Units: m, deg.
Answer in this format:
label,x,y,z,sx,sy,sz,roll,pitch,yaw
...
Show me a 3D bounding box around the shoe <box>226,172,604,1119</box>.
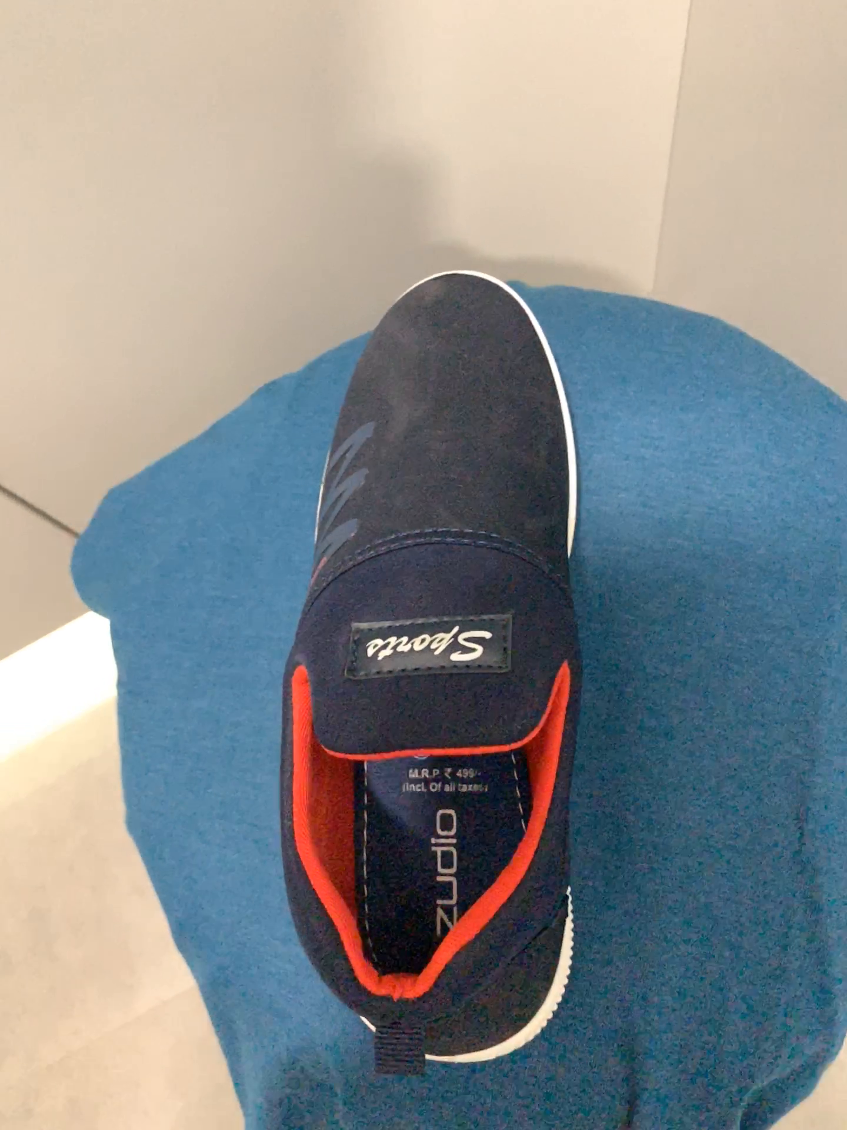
label,x,y,z,sx,sy,sz,roll,pitch,yaw
shoe,0.004,0.018,0.290,0.090,0.100,0.260,-3,72,9
